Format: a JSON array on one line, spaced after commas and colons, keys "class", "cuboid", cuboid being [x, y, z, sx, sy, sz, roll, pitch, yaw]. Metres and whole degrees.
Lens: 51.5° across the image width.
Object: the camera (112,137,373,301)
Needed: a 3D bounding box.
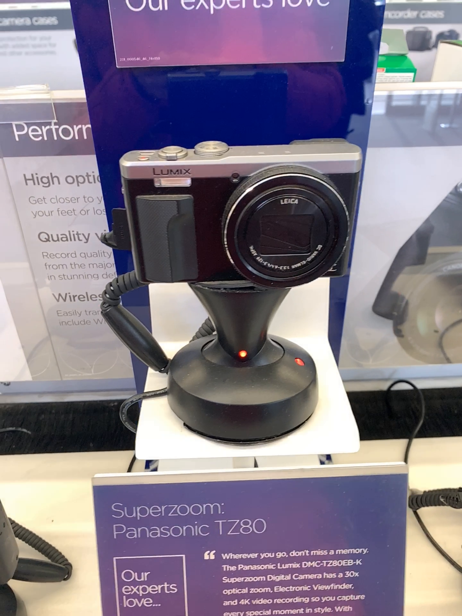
[{"class": "camera", "cuboid": [0.005, -0.043, 0.232, 0.110, 0.069, 0.030, -2, 32, -3]}]
